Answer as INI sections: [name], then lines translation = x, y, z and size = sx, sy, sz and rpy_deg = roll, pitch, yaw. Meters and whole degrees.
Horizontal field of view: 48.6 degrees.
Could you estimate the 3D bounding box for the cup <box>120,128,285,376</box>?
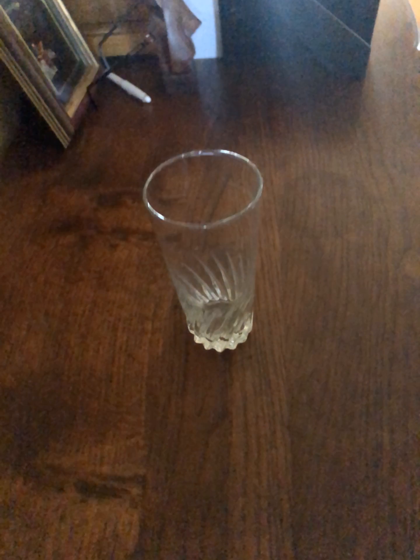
[cup]
translation = 0.000, -0.013, 0.326
size = 0.070, 0.149, 0.070
rpy_deg = -3, 50, 4
